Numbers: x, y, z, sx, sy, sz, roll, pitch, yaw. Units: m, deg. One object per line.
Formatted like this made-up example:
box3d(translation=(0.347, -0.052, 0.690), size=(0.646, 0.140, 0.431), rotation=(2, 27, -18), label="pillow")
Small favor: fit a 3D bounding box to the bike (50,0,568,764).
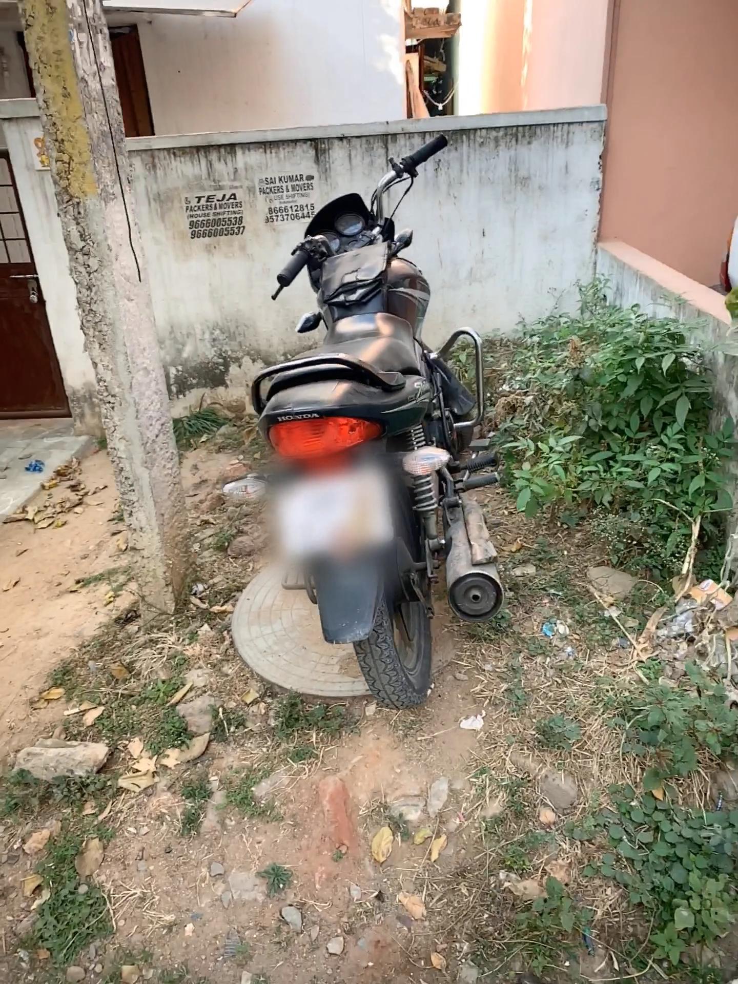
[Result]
box3d(translation=(-0.053, -0.373, 1.771), size=(0.734, 1.101, 1.247), rotation=(-2, 35, 2), label="bike")
